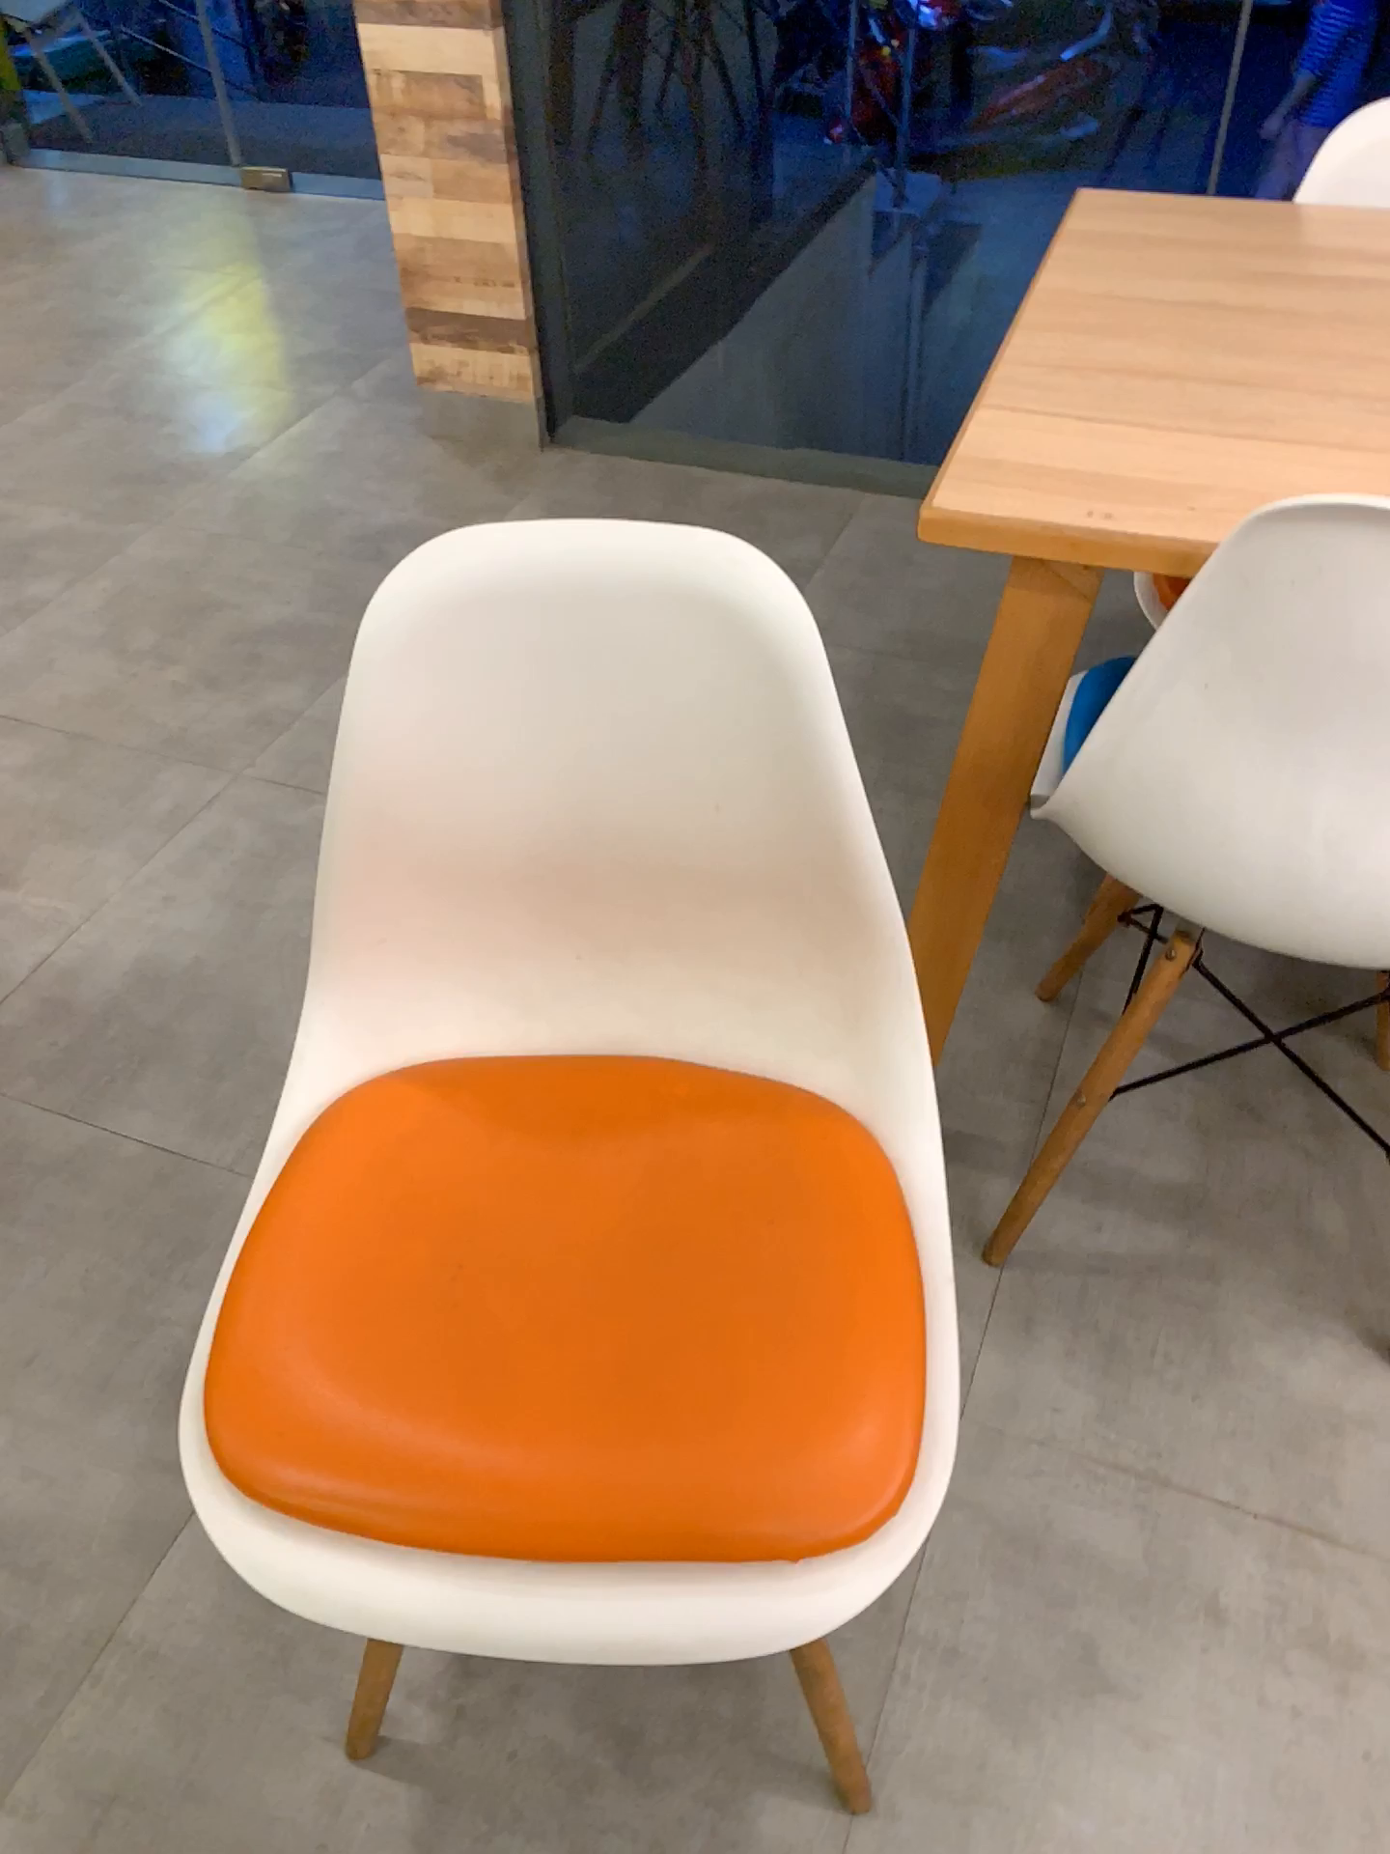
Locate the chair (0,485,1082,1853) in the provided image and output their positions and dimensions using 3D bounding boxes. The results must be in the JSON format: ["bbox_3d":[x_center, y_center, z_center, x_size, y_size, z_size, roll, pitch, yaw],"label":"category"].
[{"bbox_3d":[-0.063,0.174,0.875,0.440,0.724,0.454,3,42,6],"label":"chair"}]
